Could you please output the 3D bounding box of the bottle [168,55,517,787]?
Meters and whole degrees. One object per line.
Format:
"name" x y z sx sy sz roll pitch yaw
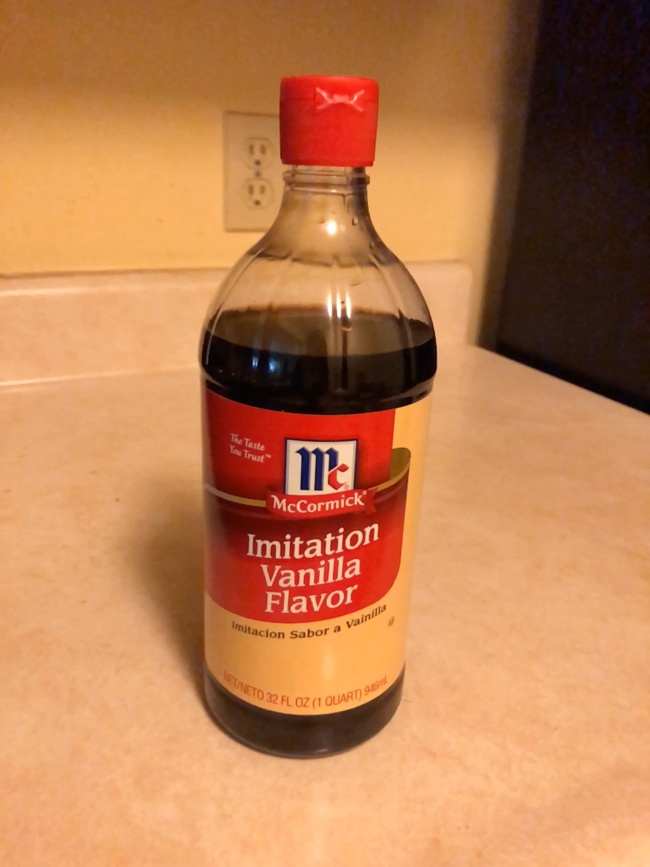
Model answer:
"bottle" -0.003 0.003 0.265 0.090 0.239 0.080 0 21 -6
